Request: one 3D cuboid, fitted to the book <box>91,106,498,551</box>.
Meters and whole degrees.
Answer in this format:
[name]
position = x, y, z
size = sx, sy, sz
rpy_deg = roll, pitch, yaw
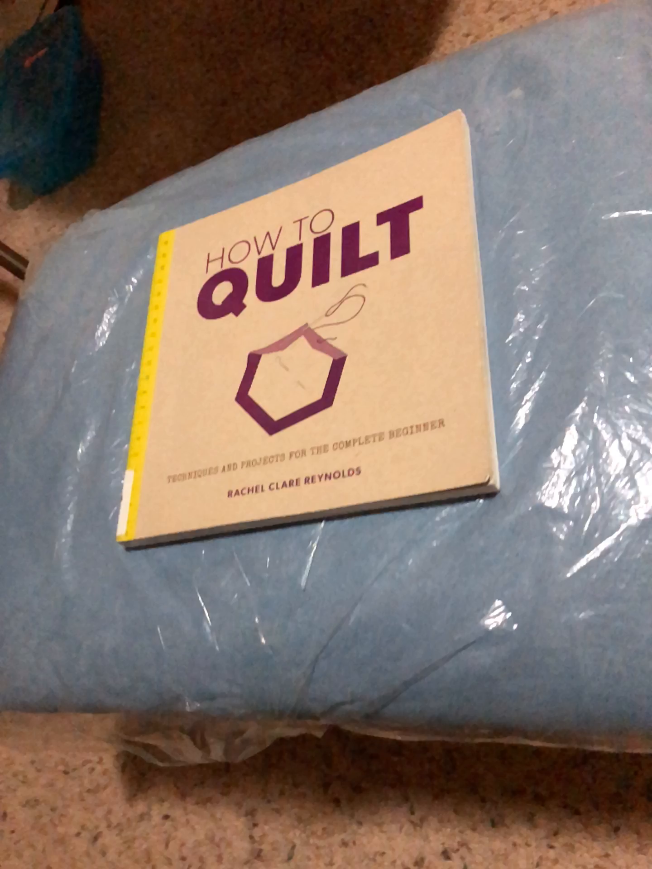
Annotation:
[book]
position = -0.024, -0.049, 0.370
size = 0.208, 0.020, 0.194
rpy_deg = -12, 63, 28
